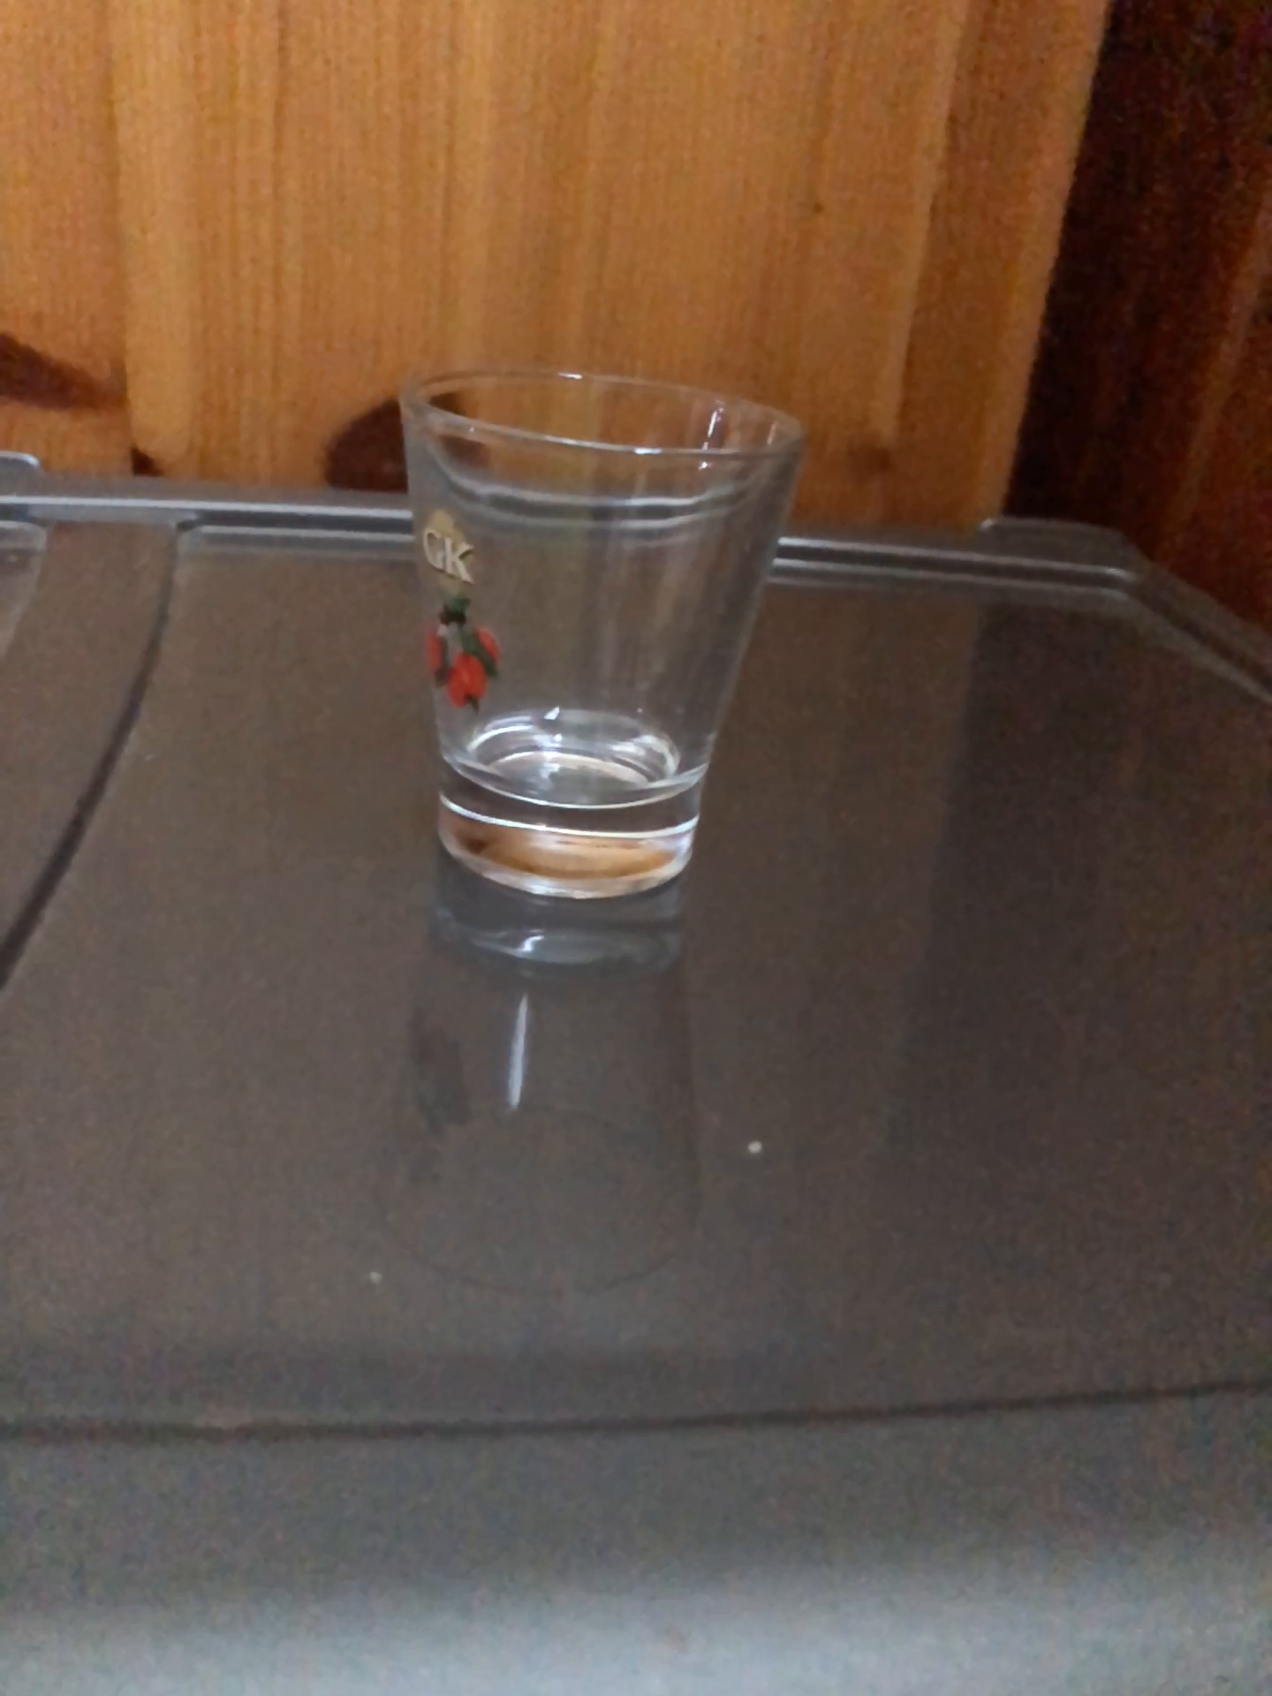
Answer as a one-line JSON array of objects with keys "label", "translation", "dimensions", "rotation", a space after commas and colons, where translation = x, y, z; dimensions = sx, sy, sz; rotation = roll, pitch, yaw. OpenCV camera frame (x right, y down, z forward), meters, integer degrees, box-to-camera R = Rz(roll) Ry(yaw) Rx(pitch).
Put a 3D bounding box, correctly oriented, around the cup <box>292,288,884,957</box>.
[{"label": "cup", "translation": [-0.010, -0.040, 0.219], "dimensions": [0.060, 0.080, 0.060], "rotation": [6, 26, -3]}]
